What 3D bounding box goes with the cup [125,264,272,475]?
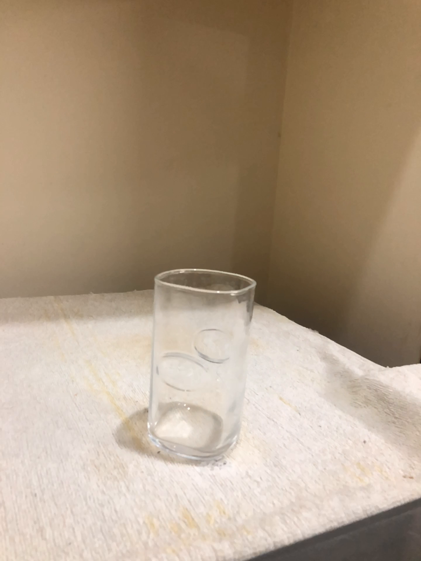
[{"bbox_3d":[-0.006,0.052,0.308,0.070,0.110,0.070,4,11,-1],"label":"cup"}]
